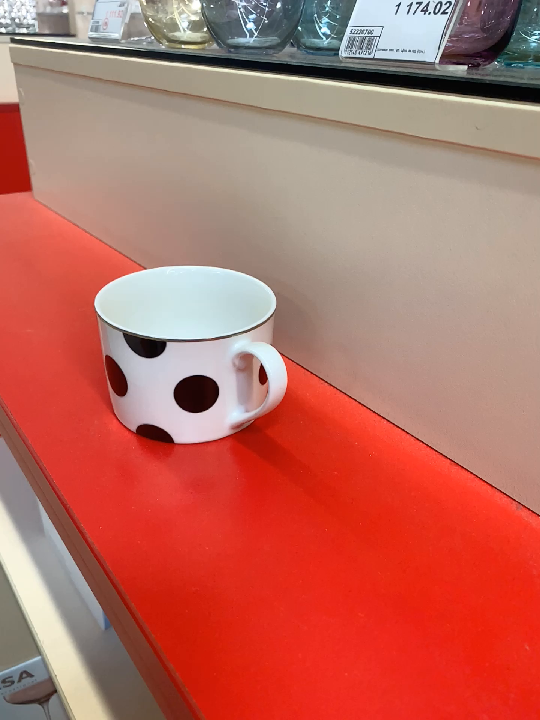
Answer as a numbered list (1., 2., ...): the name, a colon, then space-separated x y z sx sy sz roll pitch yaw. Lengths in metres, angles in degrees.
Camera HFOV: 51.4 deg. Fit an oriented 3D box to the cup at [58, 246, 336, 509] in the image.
1. cup: -0.036 -0.001 0.269 0.080 0.070 0.100 -23 38 -38
